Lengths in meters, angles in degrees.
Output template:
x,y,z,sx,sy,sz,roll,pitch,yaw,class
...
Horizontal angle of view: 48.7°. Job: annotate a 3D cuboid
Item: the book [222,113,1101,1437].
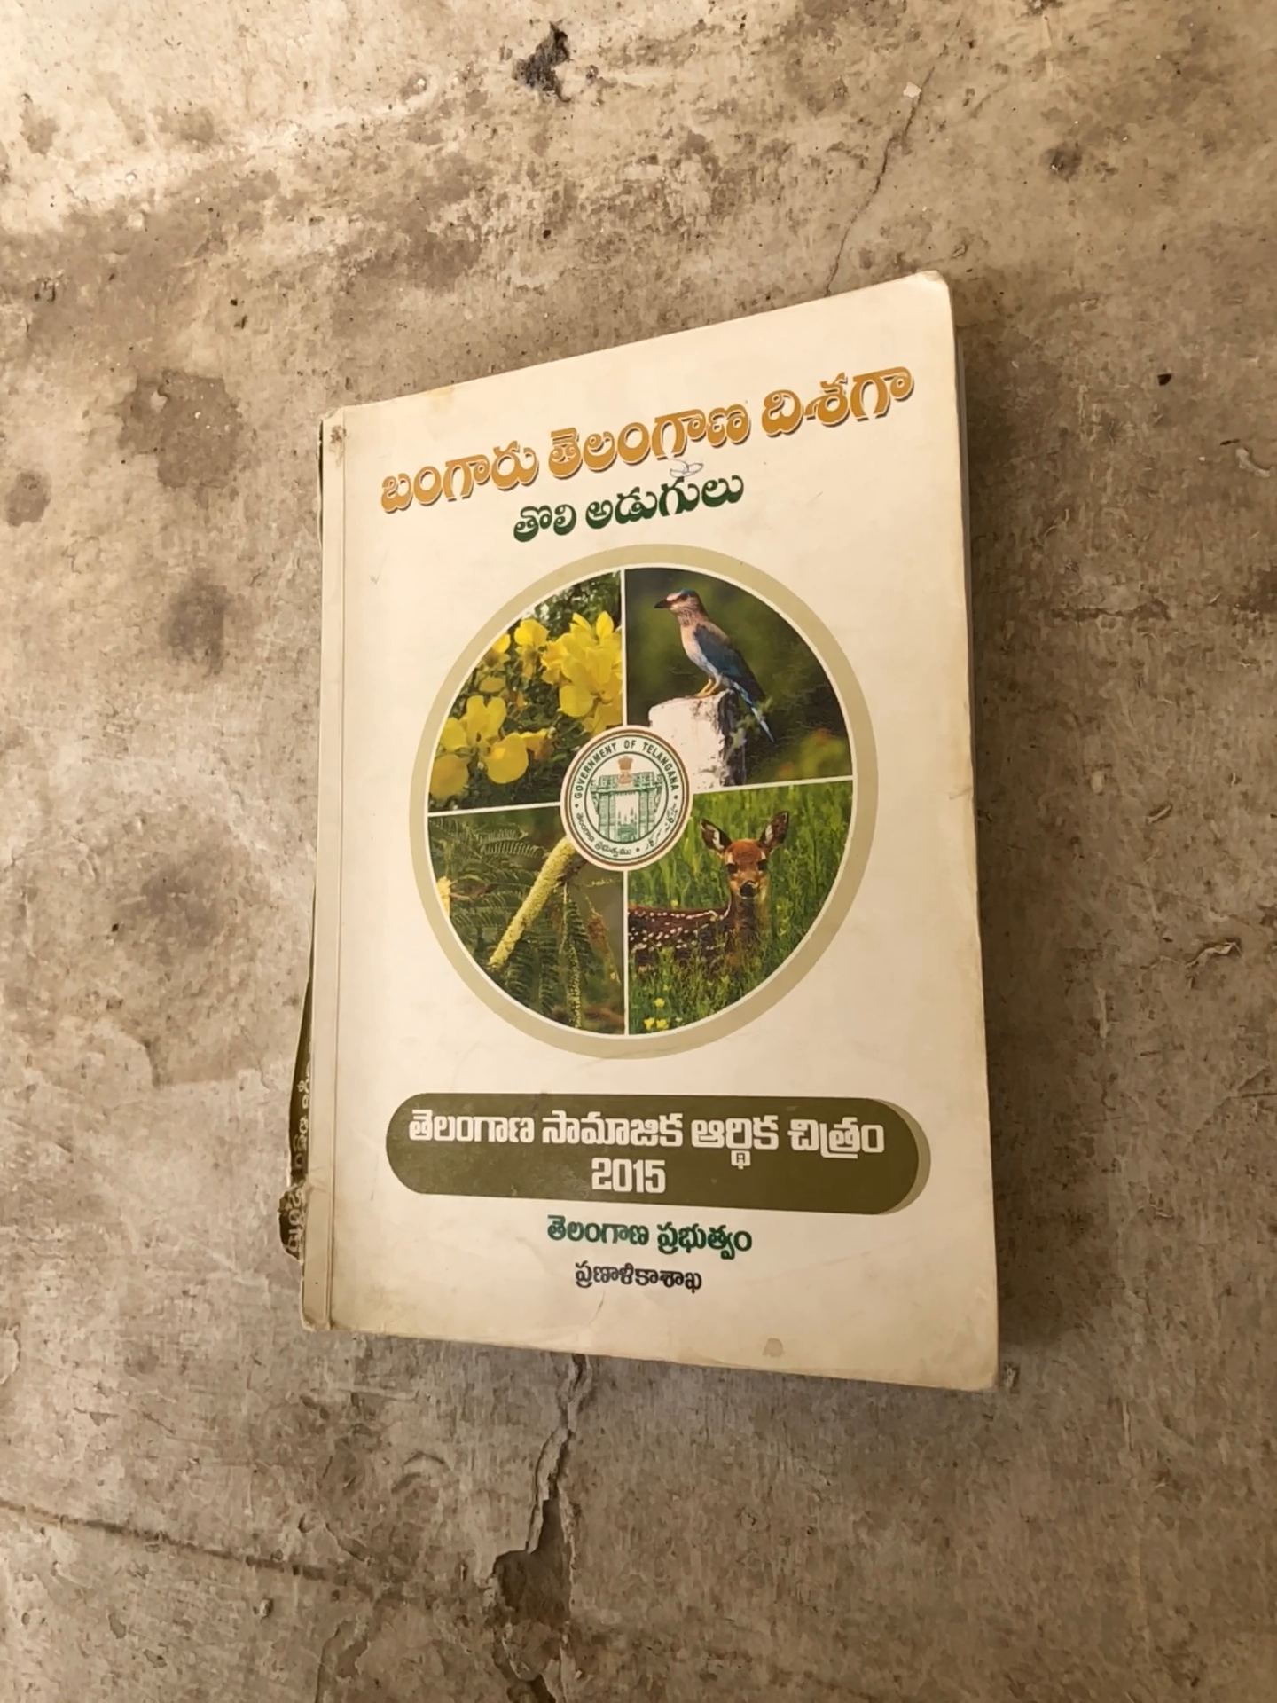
x,y,z,sx,sy,sz,roll,pitch,yaw,class
0.001,-0.017,0.379,0.220,0.060,0.290,-3,82,25,book
